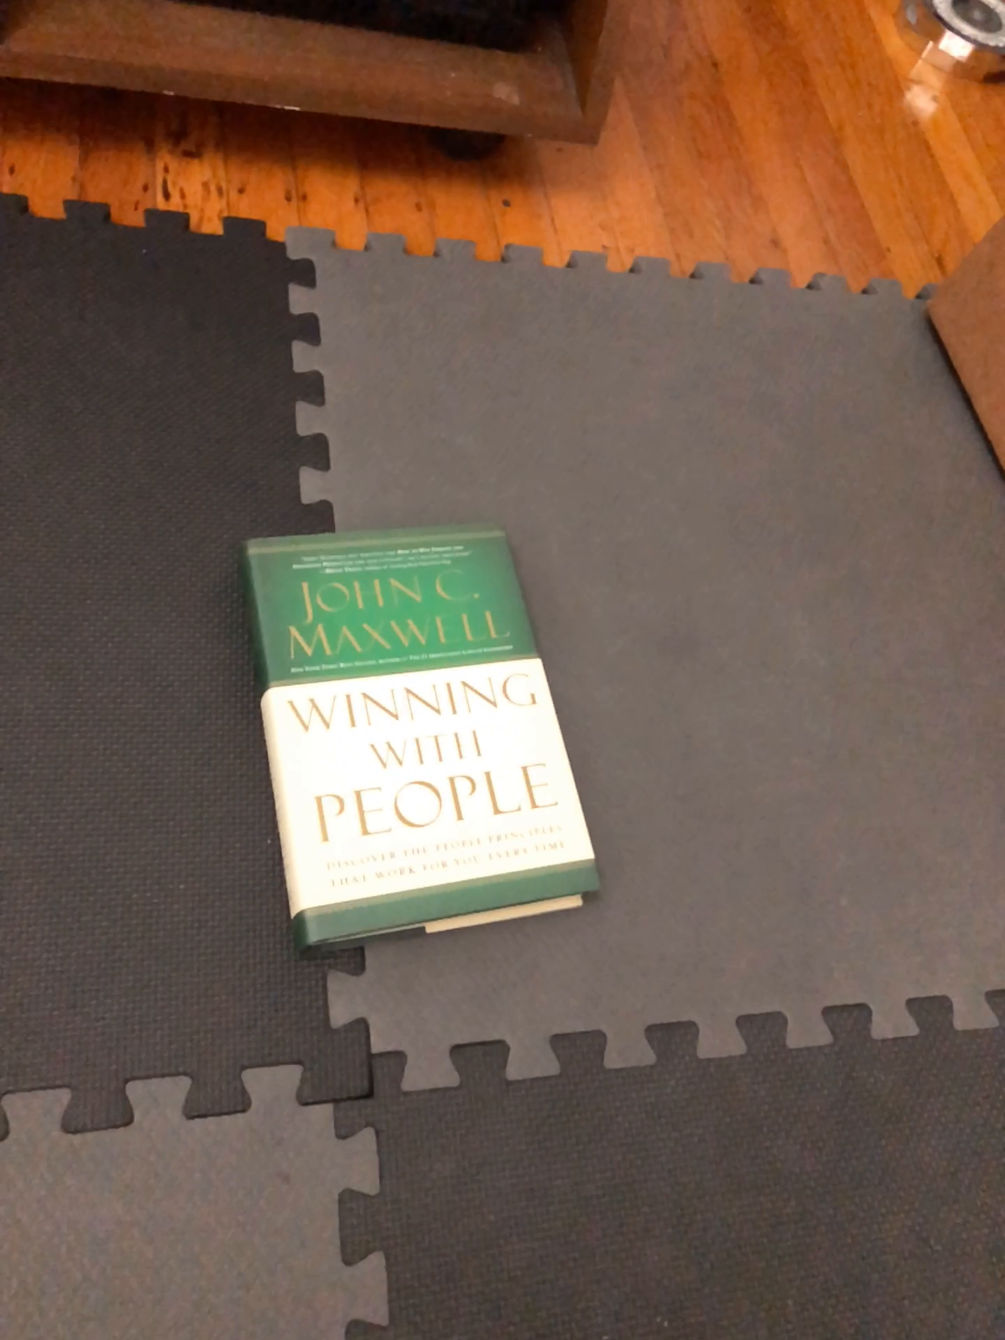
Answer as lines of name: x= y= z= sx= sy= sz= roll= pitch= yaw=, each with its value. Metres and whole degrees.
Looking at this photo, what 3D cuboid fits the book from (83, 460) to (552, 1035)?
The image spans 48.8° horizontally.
book: x=-0.103 y=0.019 z=0.567 sx=0.200 sy=0.030 sz=0.291 roll=-4 pitch=63 yaw=-17
